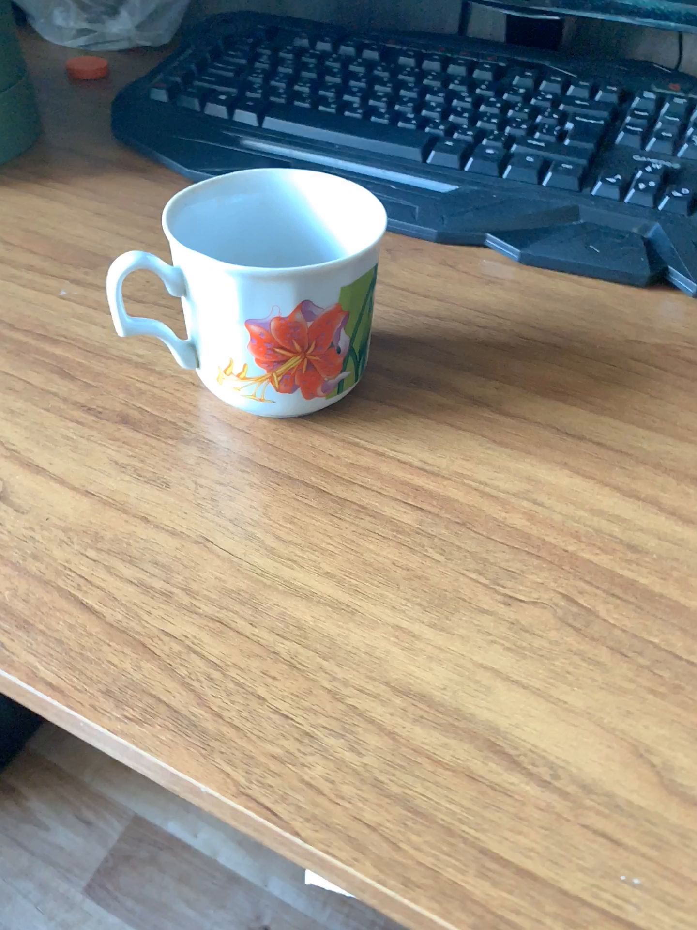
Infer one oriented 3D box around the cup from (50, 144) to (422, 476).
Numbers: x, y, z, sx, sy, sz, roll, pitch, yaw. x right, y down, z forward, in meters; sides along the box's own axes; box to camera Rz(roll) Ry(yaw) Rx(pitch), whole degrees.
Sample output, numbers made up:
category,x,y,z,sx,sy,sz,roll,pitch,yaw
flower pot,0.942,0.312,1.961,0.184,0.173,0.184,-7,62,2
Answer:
category,x,y,z,sx,sy,sz,roll,pitch,yaw
cup,-0.041,-0.063,0.278,0.110,0.080,0.070,-19,47,-22
